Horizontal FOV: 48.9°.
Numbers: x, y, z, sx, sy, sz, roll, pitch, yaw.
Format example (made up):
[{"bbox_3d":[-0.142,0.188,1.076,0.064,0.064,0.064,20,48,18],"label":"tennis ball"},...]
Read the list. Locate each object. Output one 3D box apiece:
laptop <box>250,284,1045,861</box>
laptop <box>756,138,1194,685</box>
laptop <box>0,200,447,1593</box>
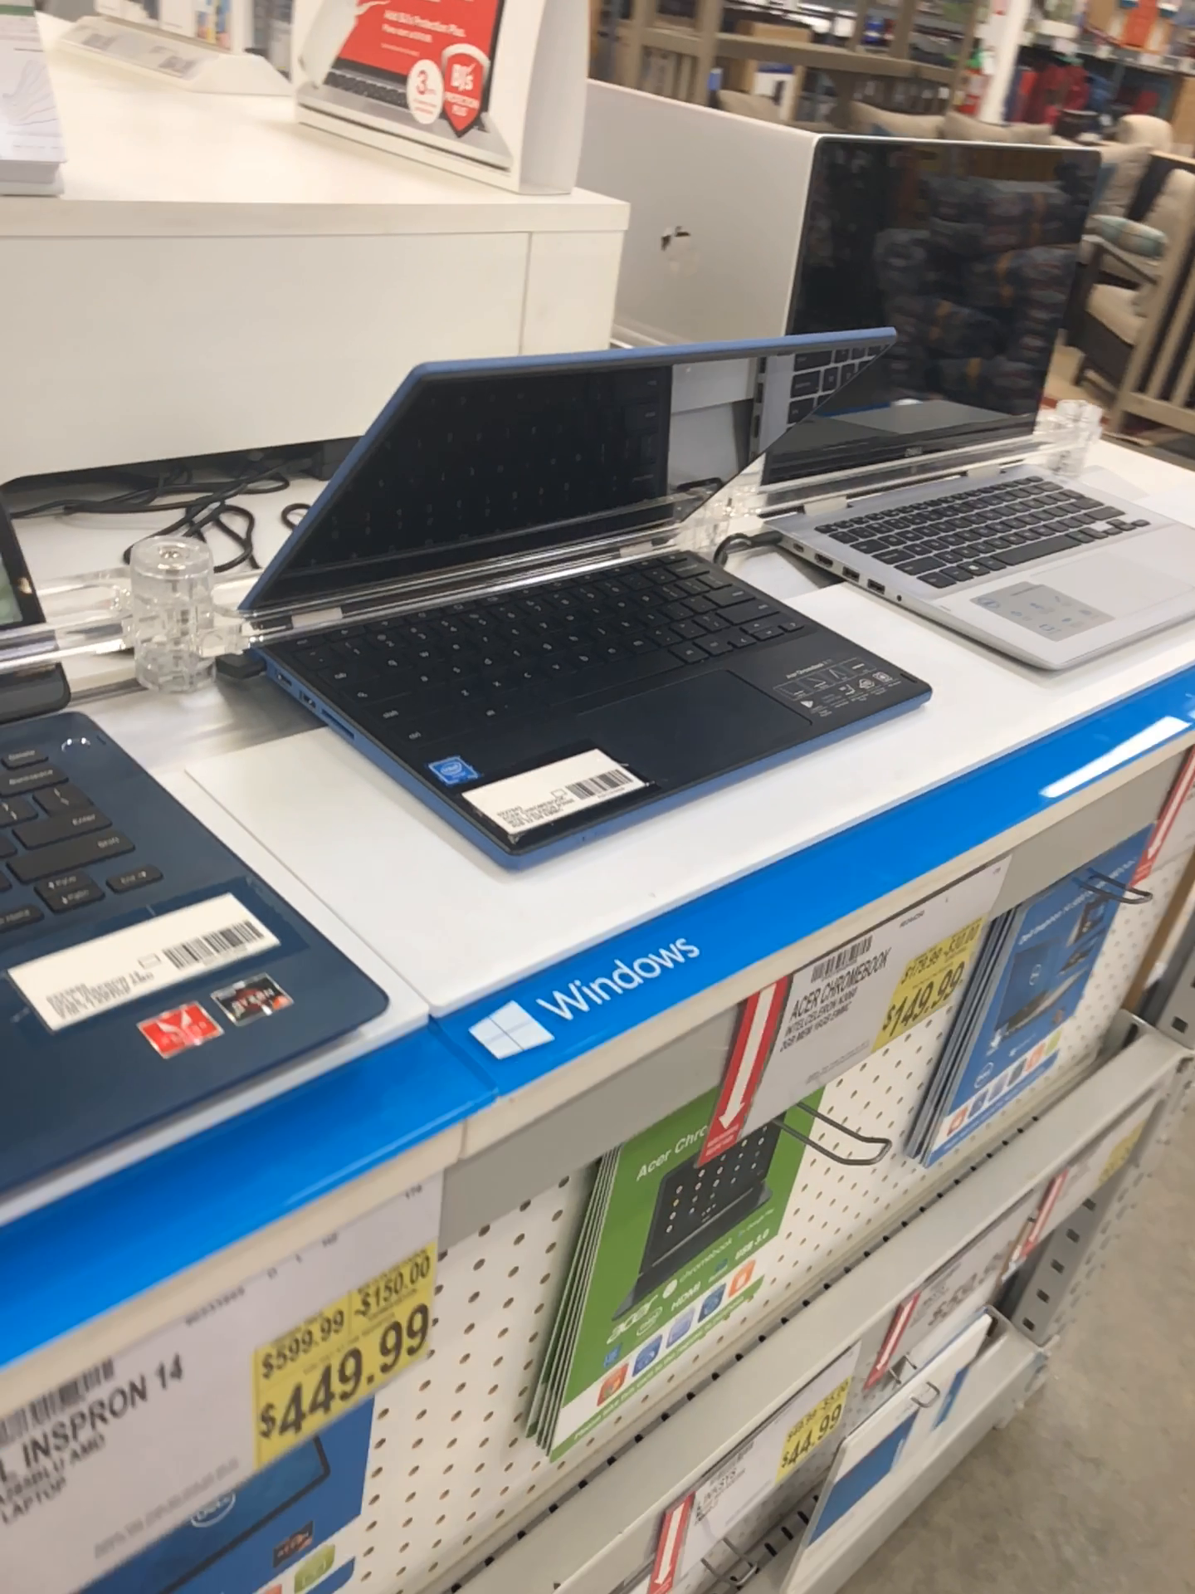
[{"bbox_3d":[0.022,-0.128,0.612,0.294,0.159,0.195,-20,43,-39],"label":"laptop"},{"bbox_3d":[0.322,-0.278,0.858,0.342,0.218,0.256,-21,45,-37],"label":"laptop"},{"bbox_3d":[-0.282,-0.042,0.378,0.305,0.169,0.368,-21,43,-40],"label":"laptop"}]
